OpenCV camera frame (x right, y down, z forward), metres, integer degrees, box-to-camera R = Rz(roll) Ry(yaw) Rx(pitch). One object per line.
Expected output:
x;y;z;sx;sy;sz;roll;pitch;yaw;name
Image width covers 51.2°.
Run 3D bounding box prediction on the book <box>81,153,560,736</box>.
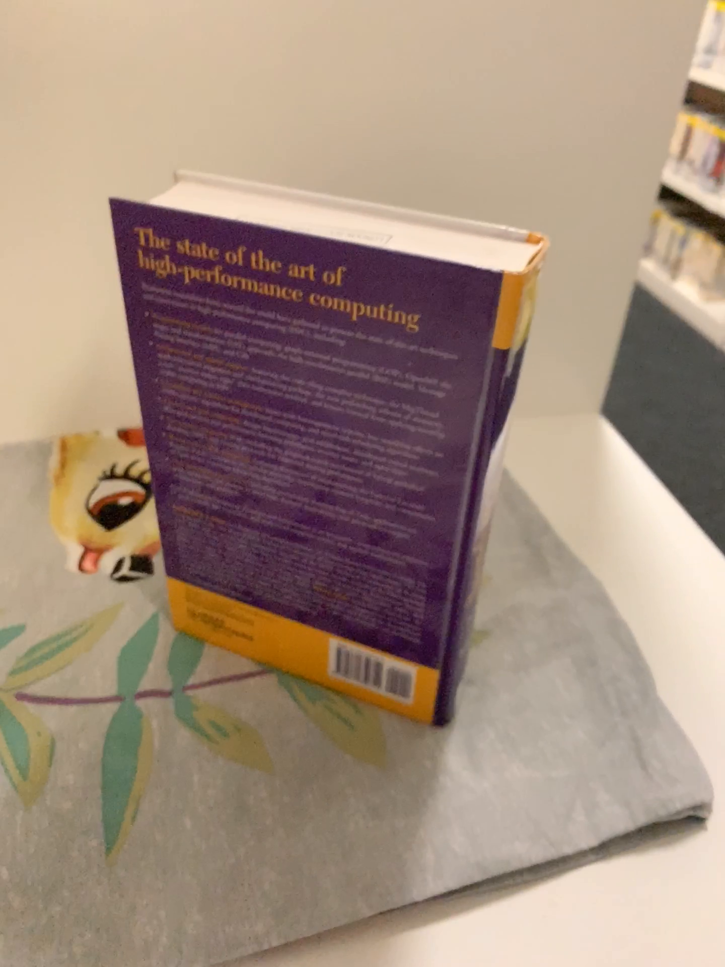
-0.021;-0.006;0.347;0.168;0.242;0.049;16;40;17;book
